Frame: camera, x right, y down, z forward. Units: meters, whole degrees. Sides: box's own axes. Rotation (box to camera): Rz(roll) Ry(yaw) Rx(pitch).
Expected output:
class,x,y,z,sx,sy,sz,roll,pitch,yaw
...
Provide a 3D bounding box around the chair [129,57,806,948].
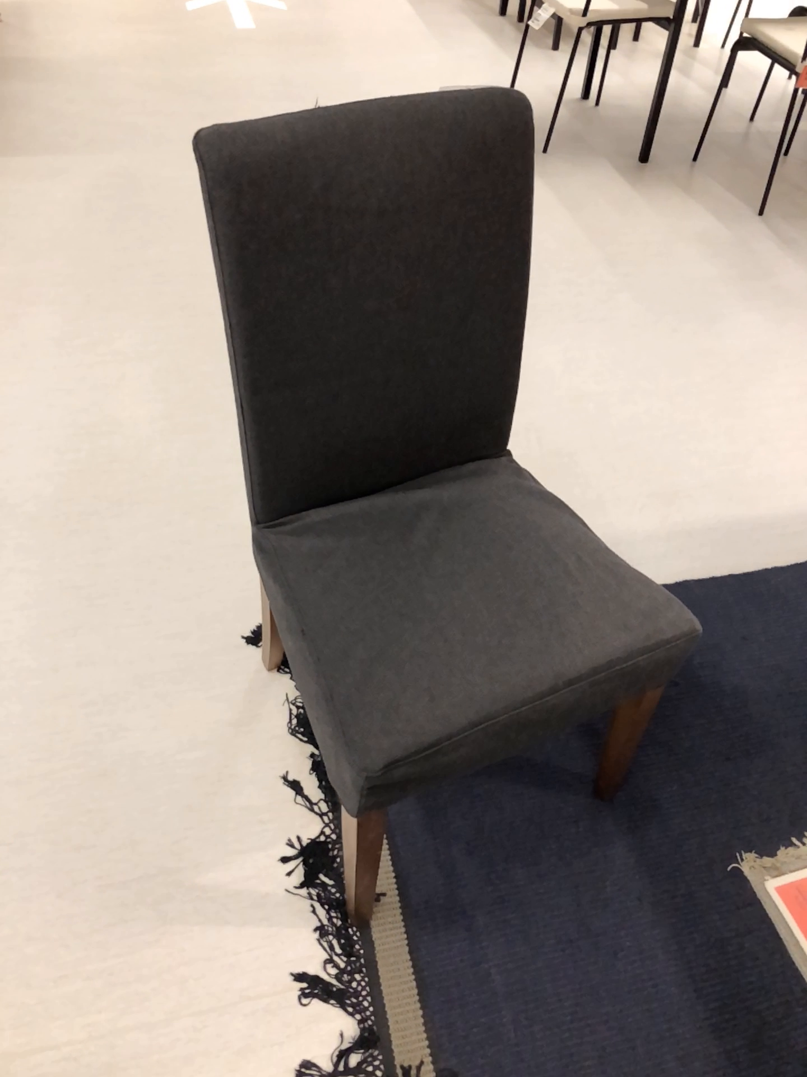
class,x,y,z,sx,sy,sz,roll,pitch,yaw
chair,0.052,-0.007,1.190,0.541,0.964,0.553,-18,50,-21
